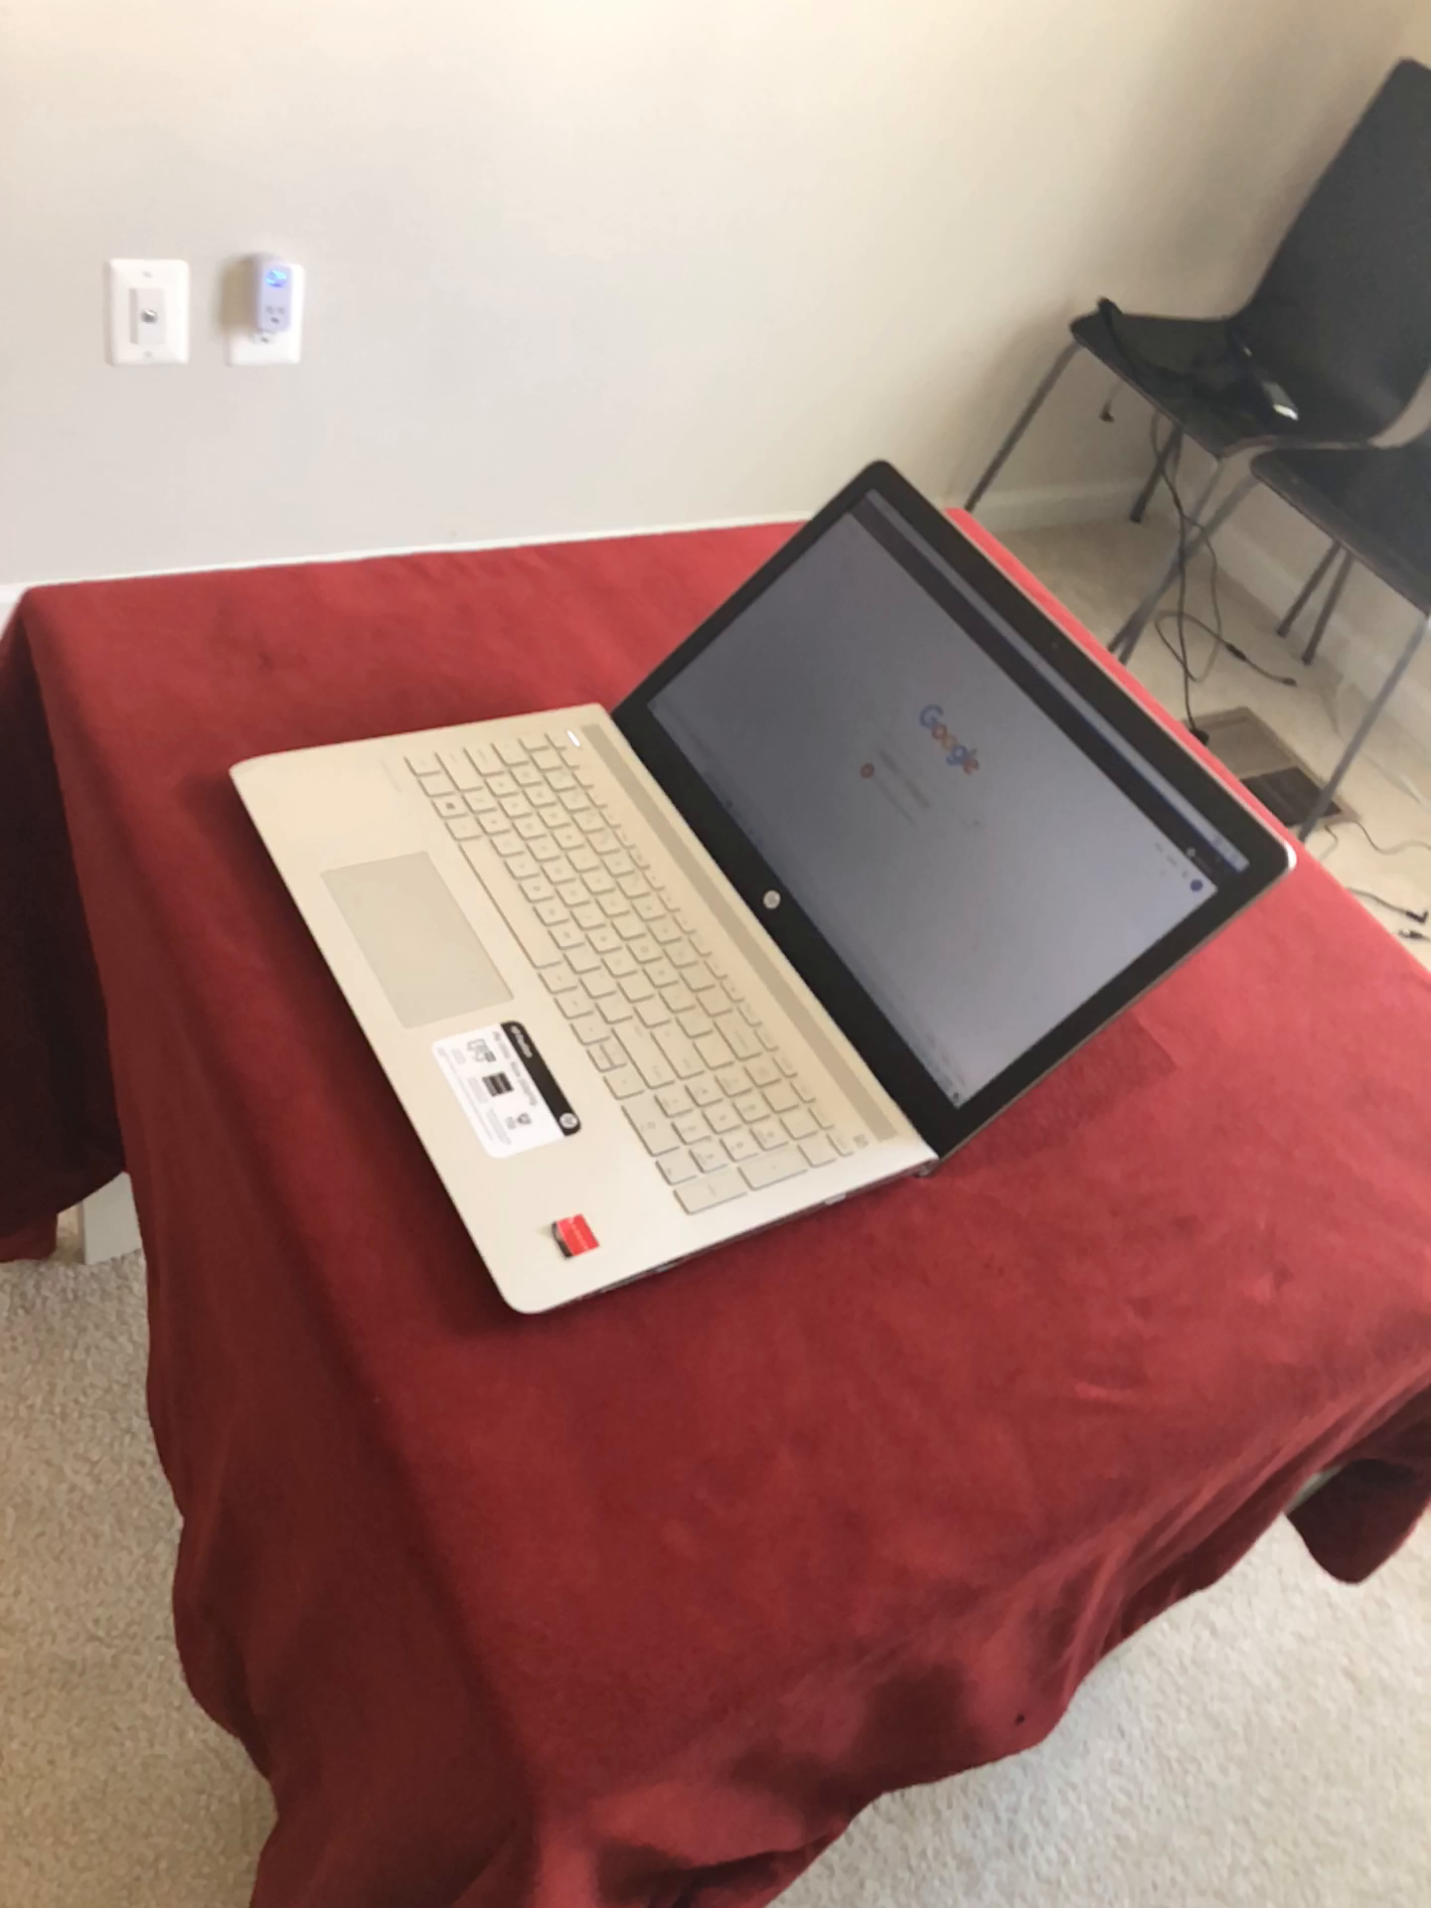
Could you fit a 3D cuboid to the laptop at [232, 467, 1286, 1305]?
[{"bbox_3d":[0.007,-0.072,0.816,0.396,0.158,0.361,-15,54,-30],"label":"laptop"}]
